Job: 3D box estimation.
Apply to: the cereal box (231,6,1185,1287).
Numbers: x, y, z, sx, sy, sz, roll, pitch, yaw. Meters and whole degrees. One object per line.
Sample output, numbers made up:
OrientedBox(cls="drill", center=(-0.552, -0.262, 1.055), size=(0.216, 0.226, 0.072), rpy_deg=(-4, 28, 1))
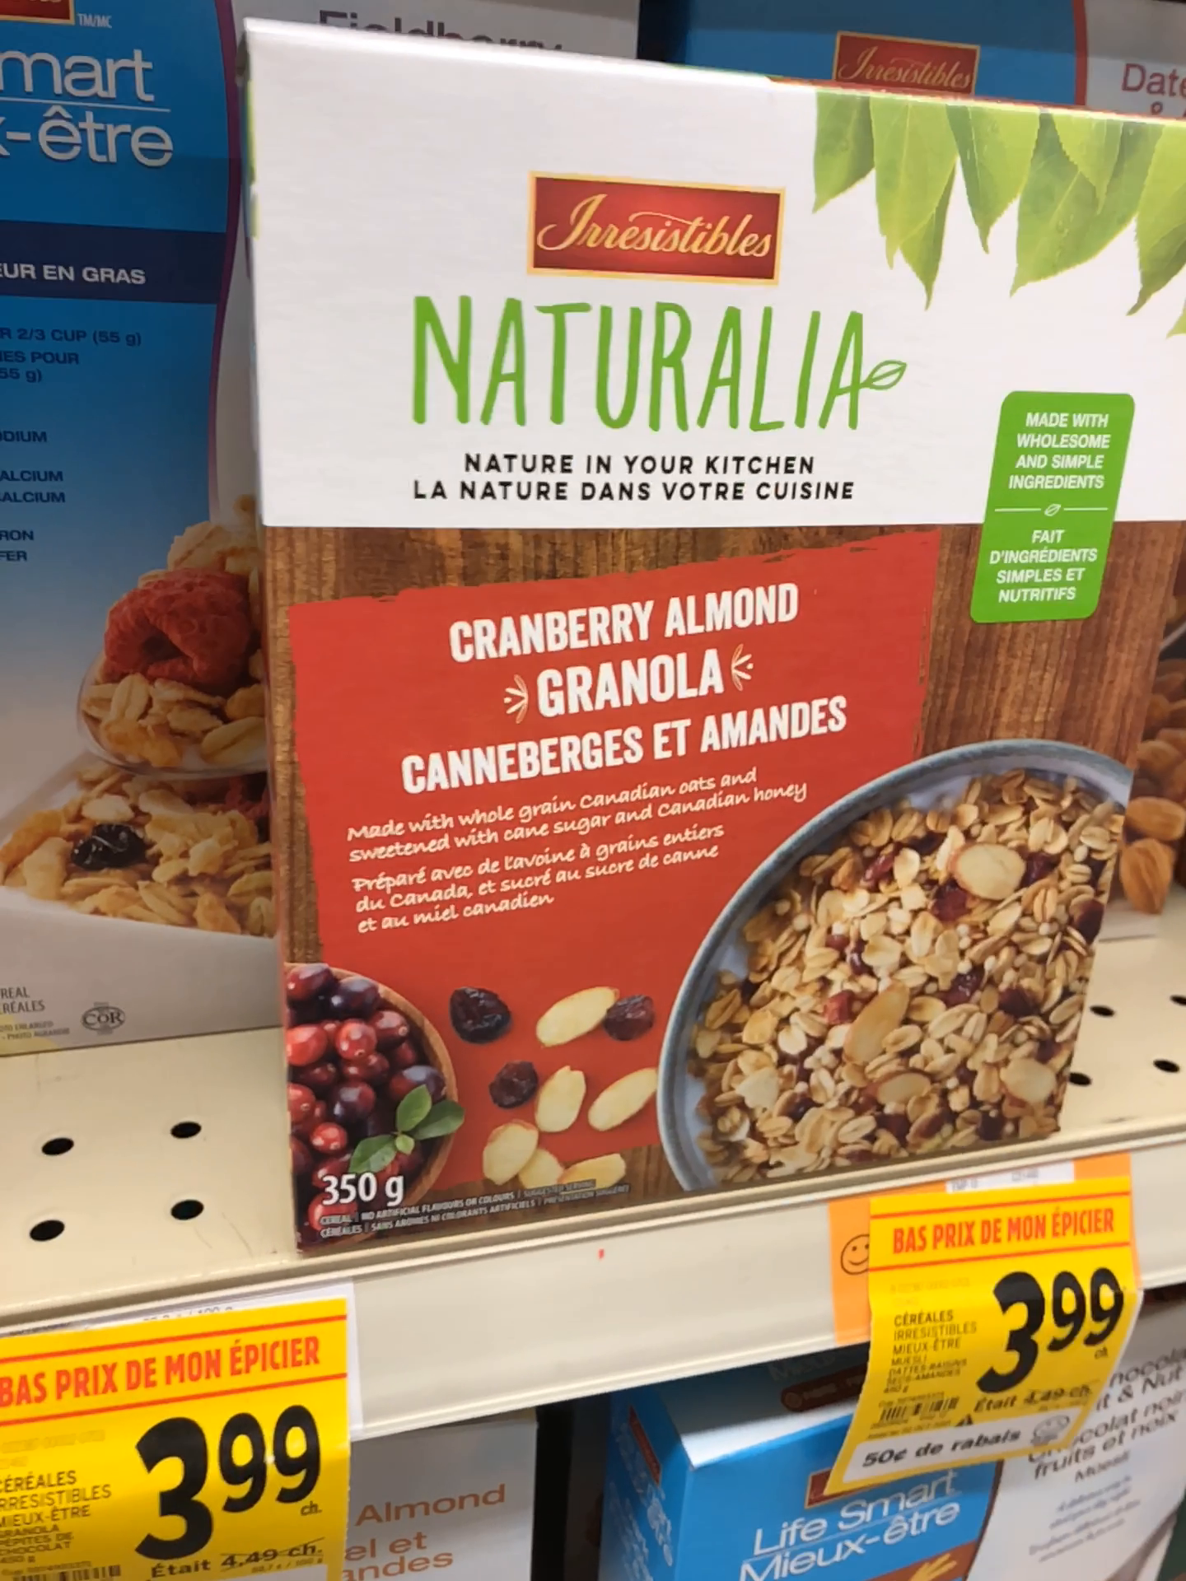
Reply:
OrientedBox(cls="cereal box", center=(0.024, -0.020, 0.257), size=(0.170, 0.209, 0.060), rpy_deg=(-4, 24, -16))
